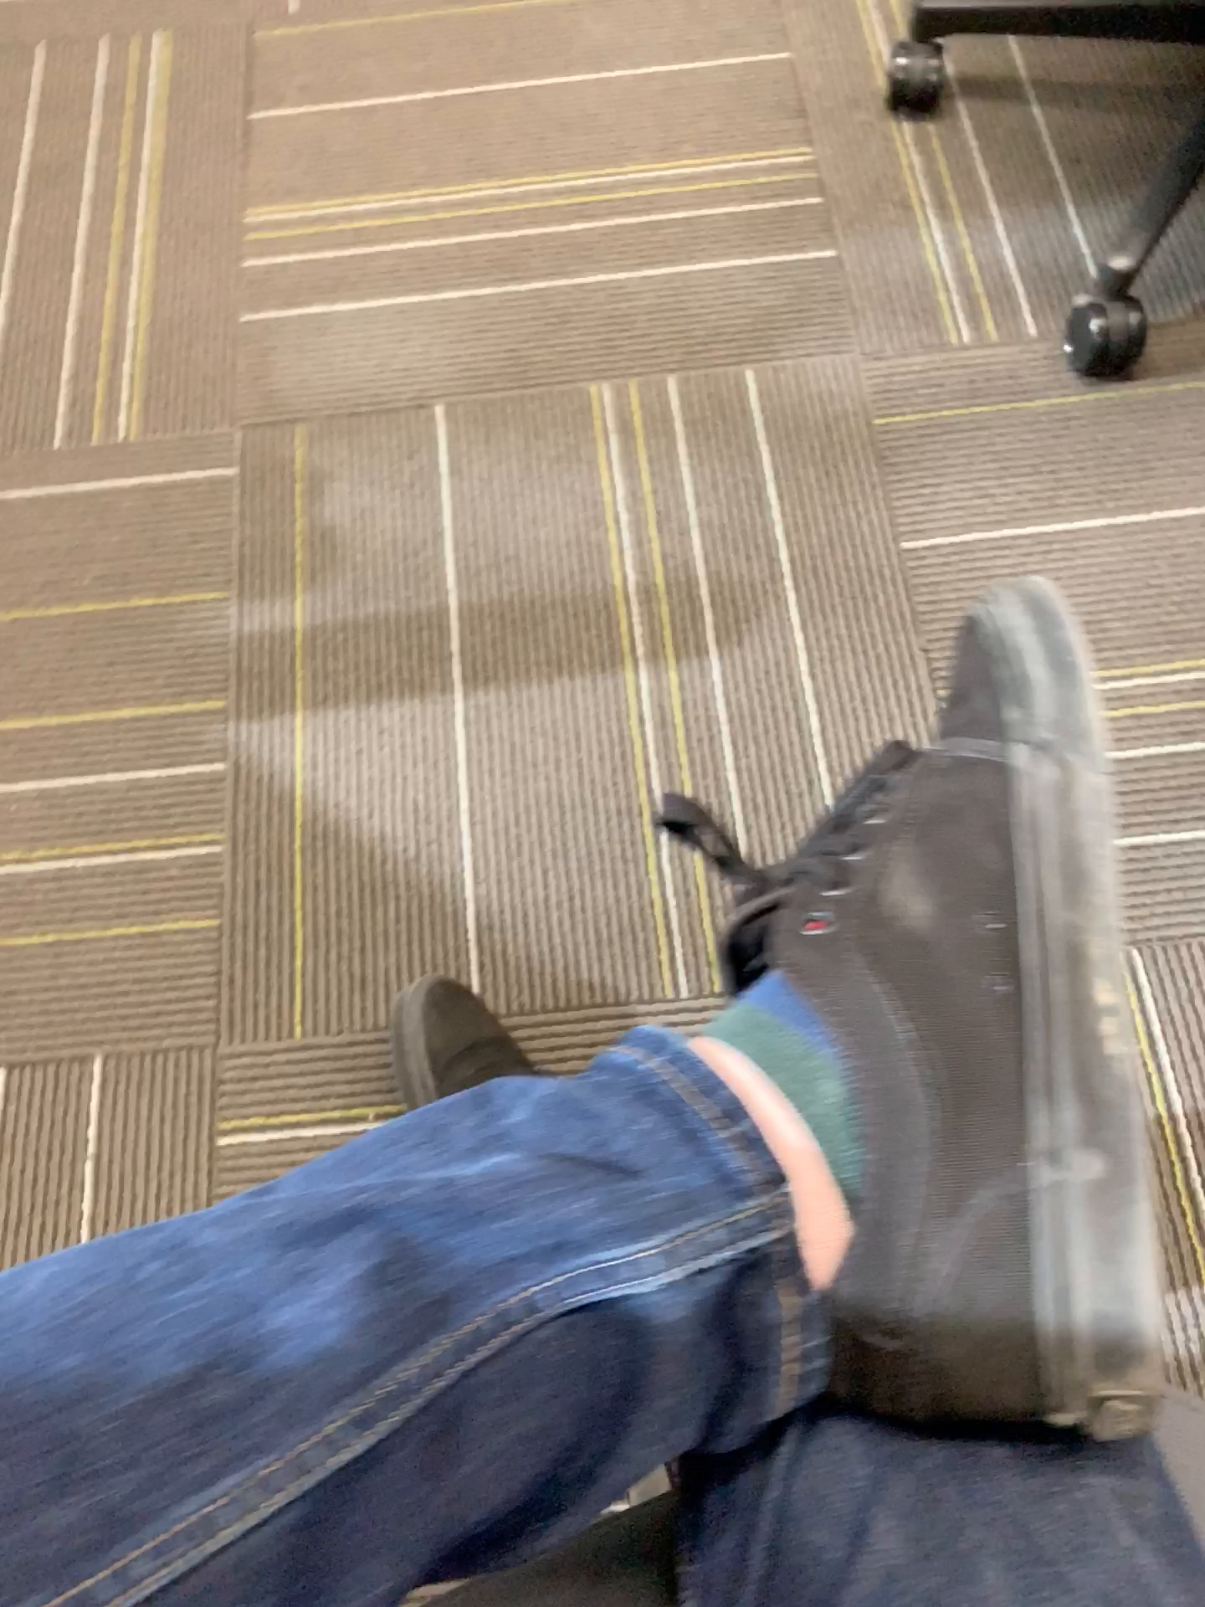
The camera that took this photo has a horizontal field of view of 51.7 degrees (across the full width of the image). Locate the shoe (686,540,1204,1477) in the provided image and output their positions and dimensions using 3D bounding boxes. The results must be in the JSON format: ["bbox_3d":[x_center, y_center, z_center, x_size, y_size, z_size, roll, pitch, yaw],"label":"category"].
[{"bbox_3d":[0.114,0.059,0.405,0.135,0.120,0.260,2,66,13],"label":"shoe"}]
